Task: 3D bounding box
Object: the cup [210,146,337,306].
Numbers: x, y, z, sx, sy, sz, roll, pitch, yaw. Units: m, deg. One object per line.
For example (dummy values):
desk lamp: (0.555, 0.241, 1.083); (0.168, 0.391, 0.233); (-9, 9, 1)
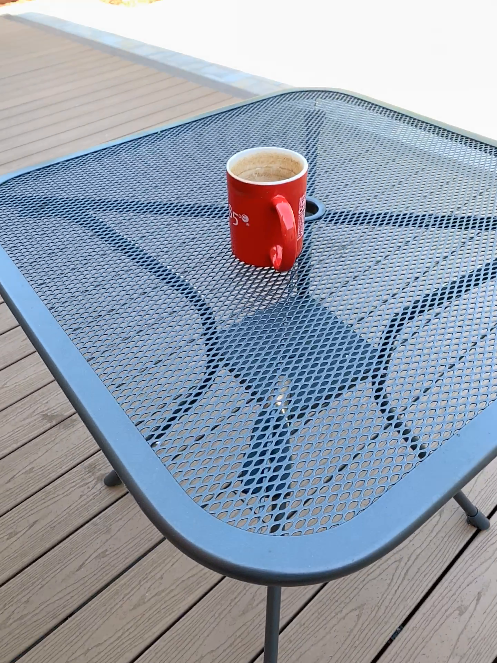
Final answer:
cup: (0.022, -0.115, 0.540); (0.090, 0.099, 0.131); (-12, 44, -9)
